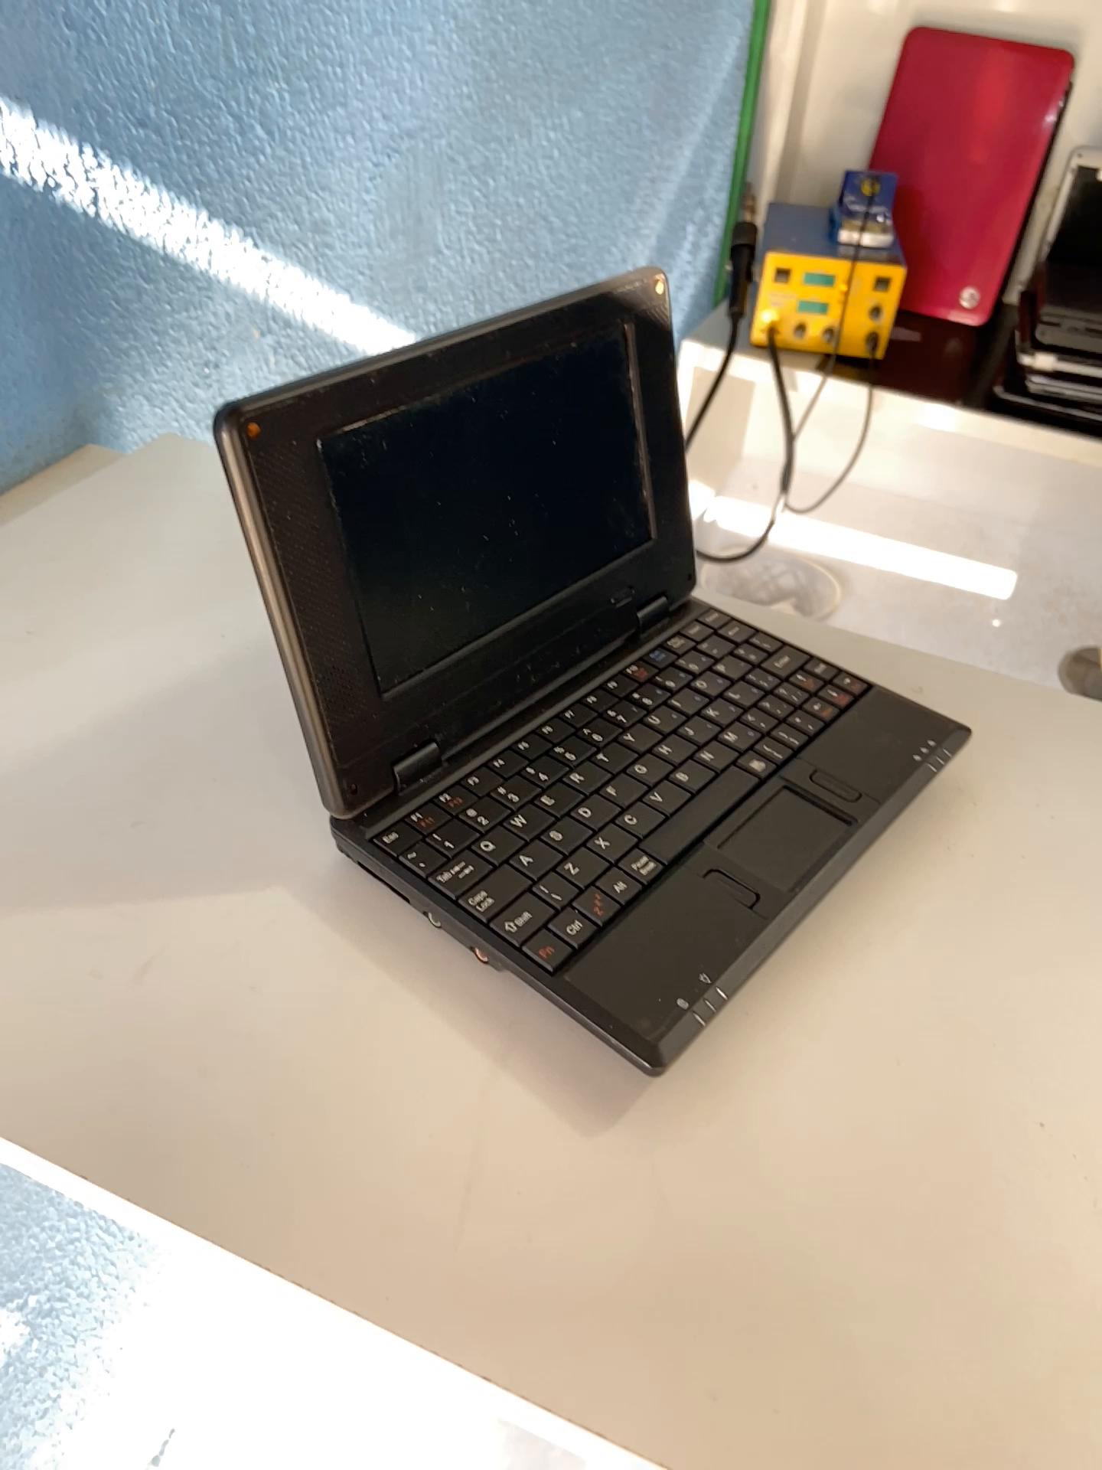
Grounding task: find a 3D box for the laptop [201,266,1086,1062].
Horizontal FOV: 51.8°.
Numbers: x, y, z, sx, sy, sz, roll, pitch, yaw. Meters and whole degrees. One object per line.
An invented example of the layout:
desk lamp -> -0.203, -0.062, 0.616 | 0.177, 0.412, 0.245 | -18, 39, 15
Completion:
laptop -> 0.035, -0.047, 0.393 | 0.179, 0.137, 0.217 | 31, 46, 28
